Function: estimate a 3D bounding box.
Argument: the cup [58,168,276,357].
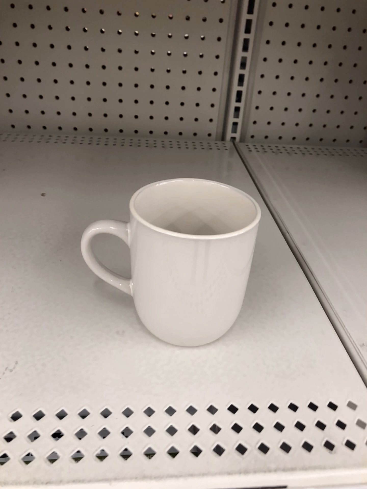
[{"bbox_3d":[-0.010,0.009,0.285,0.121,0.090,0.087,4,30,0],"label":"cup"}]
